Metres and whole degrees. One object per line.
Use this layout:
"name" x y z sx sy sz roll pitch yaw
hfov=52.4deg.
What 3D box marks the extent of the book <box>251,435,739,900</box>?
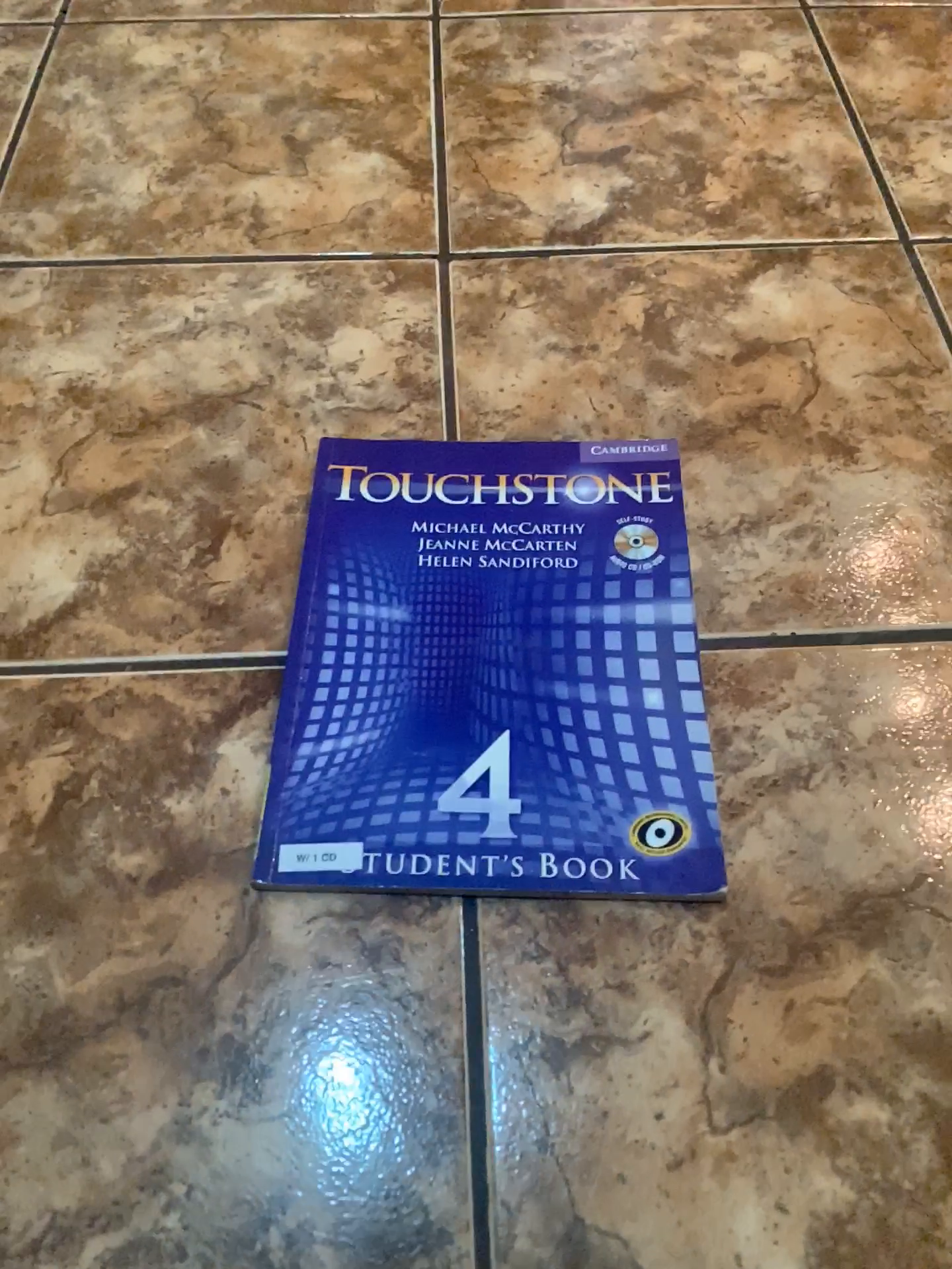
"book" 0.010 0.001 0.511 0.219 0.010 0.276 1 58 0
